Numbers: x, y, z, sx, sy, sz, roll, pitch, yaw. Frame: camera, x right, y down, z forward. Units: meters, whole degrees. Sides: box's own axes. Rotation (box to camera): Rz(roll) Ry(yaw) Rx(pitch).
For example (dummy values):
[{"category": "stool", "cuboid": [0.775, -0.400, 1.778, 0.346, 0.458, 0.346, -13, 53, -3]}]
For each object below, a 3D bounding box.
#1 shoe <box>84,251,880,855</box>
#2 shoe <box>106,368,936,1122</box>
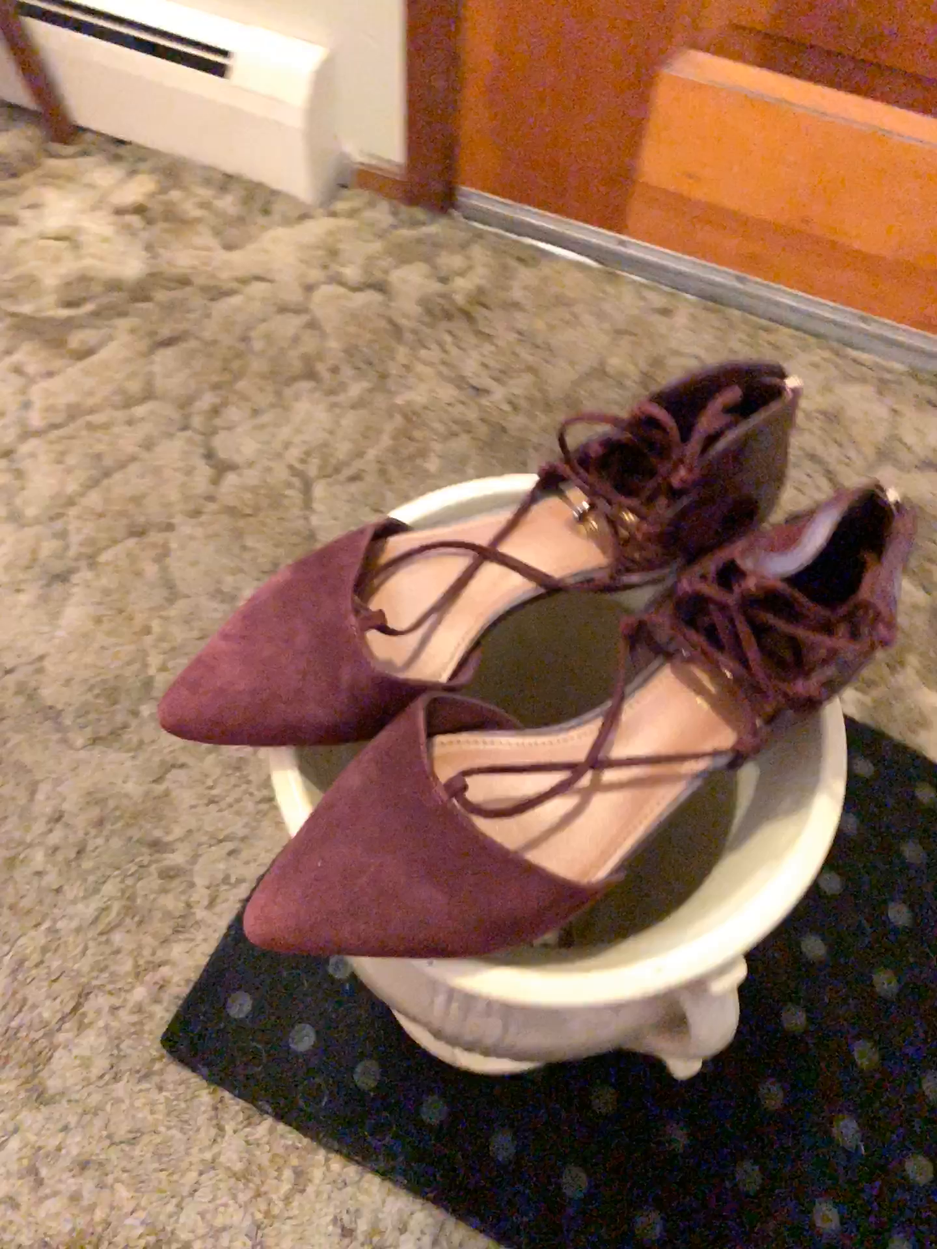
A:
[{"category": "shoe", "cuboid": [0.005, -0.025, 0.375, 0.280, 0.070, 0.090, -29, 62, -1]}, {"category": "shoe", "cuboid": [0.040, 0.034, 0.315, 0.280, 0.070, 0.090, -32, 64, -9]}]
